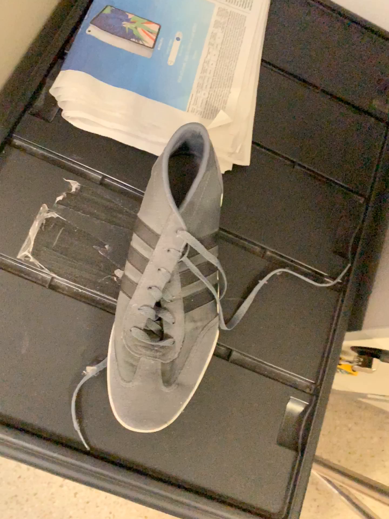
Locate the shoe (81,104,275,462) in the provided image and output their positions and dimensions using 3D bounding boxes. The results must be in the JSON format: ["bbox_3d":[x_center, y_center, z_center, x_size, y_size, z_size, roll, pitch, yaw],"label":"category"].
[{"bbox_3d":[-0.010,0.015,0.349,0.113,0.077,0.268,12,73,-11],"label":"shoe"}]
